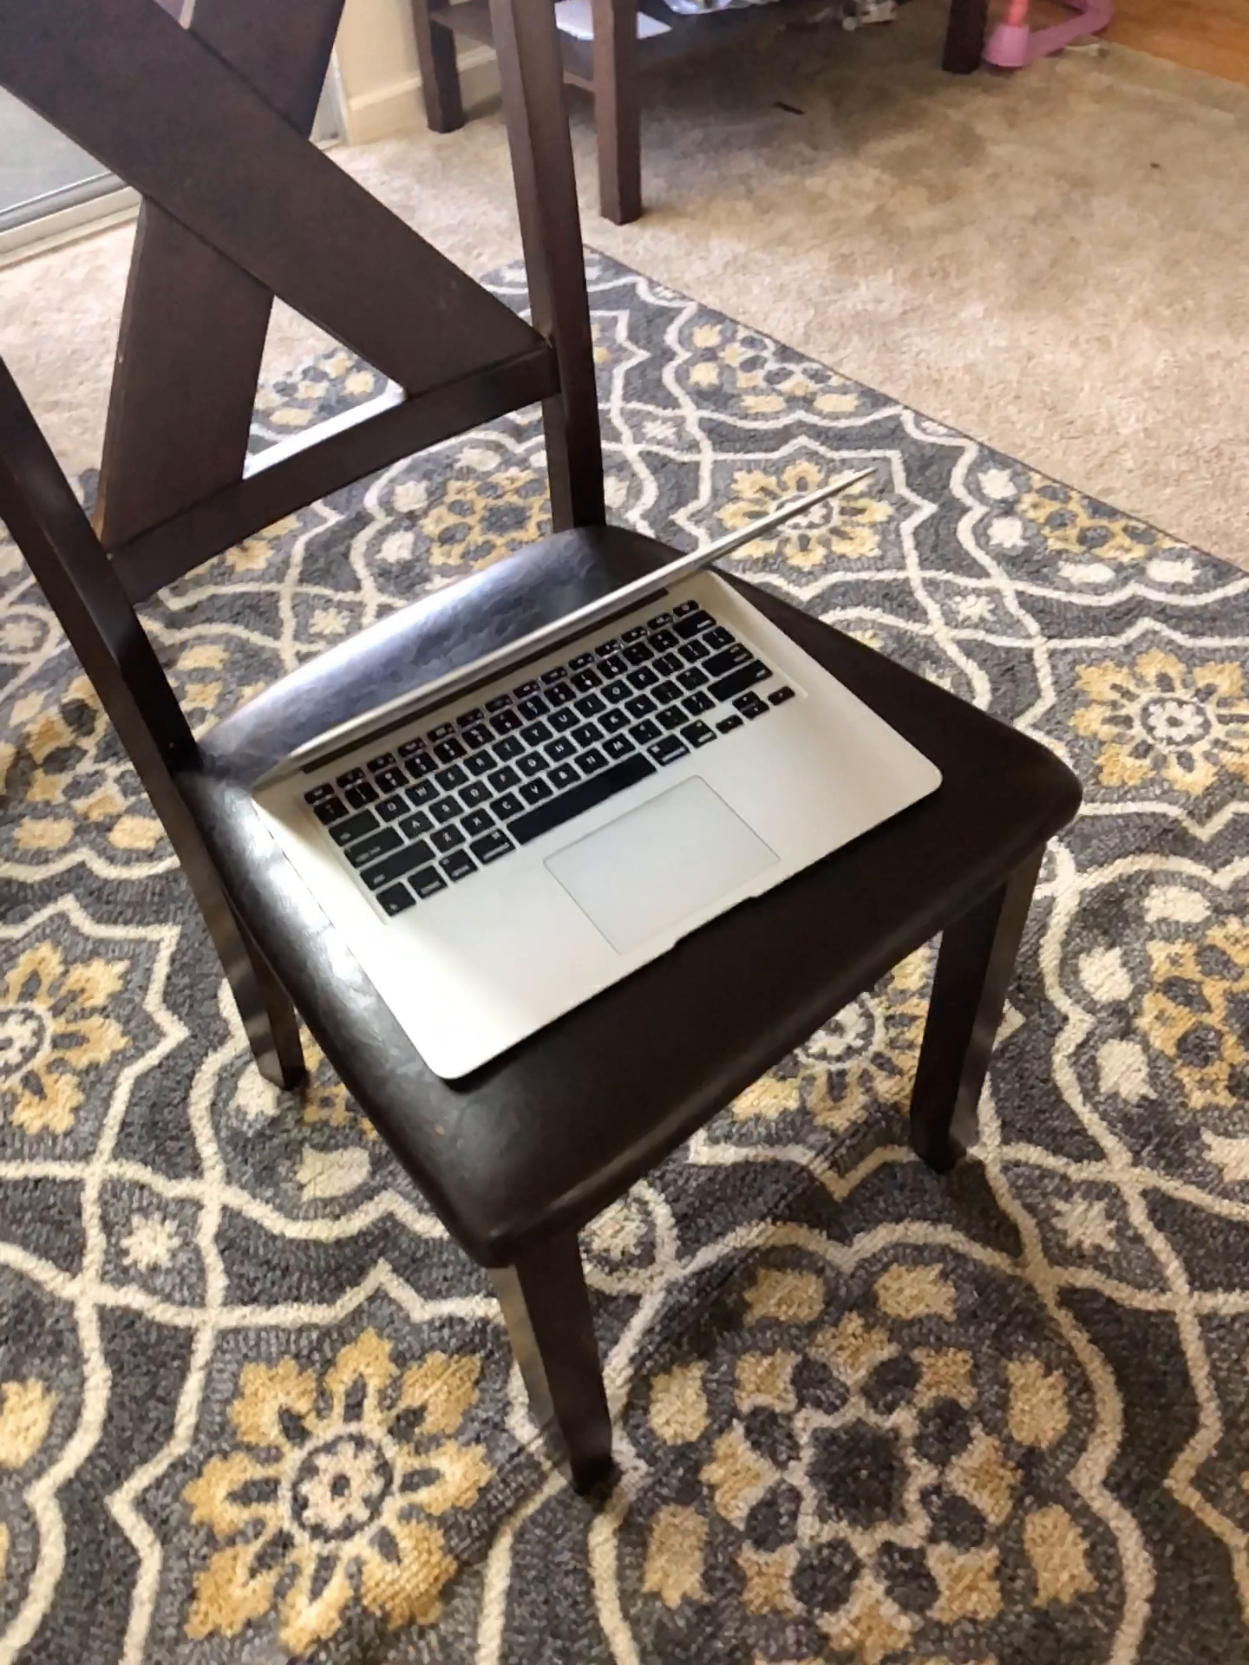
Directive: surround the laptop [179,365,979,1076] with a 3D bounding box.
[{"bbox_3d":[-0.021,-0.071,0.694,0.304,0.154,0.216,-29,53,-20],"label":"laptop"}]
